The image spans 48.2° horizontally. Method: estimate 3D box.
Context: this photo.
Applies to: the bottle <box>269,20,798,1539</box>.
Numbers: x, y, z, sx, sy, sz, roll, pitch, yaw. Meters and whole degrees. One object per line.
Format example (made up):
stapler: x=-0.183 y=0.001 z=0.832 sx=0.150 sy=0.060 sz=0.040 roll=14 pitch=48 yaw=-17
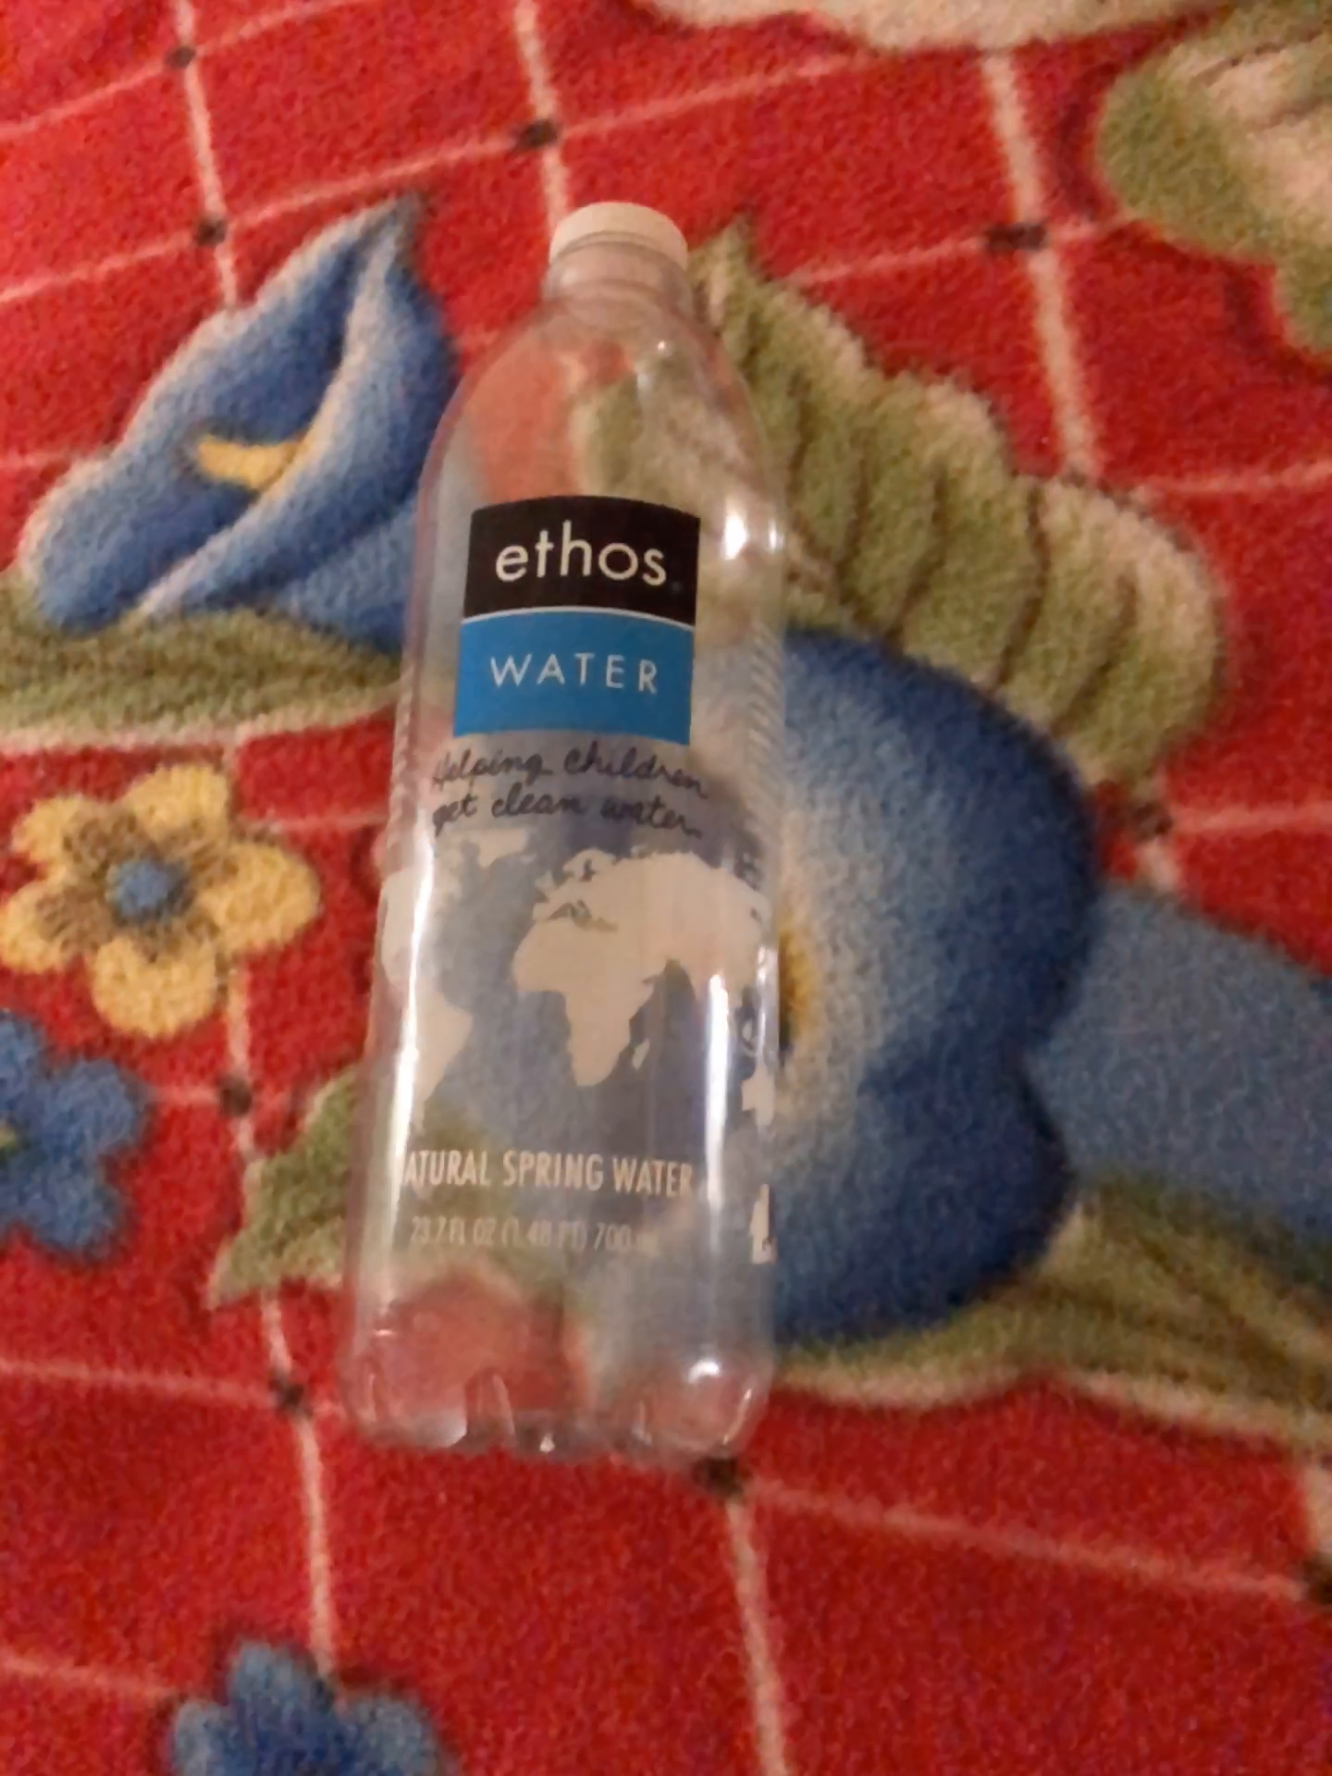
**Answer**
bottle: x=-0.015 y=-0.023 z=0.259 sx=0.070 sy=0.070 sz=0.240 roll=1 pitch=76 yaw=2
